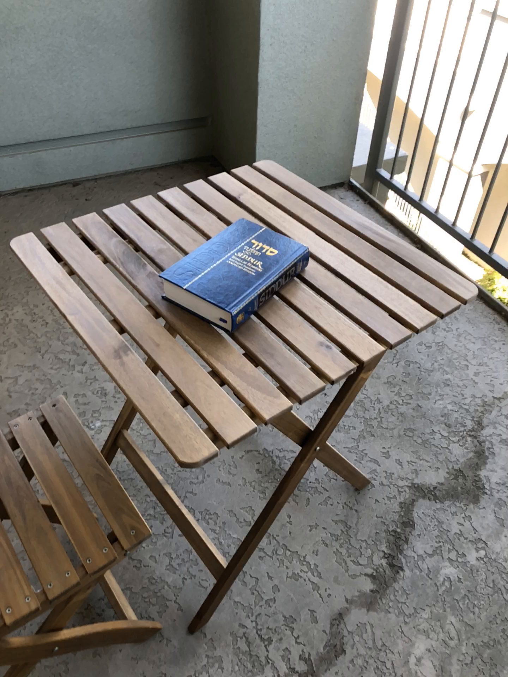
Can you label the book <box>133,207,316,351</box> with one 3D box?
[{"bbox_3d":[-0.044,-0.111,0.941,0.200,0.070,0.231,28,49,24],"label":"book"}]
